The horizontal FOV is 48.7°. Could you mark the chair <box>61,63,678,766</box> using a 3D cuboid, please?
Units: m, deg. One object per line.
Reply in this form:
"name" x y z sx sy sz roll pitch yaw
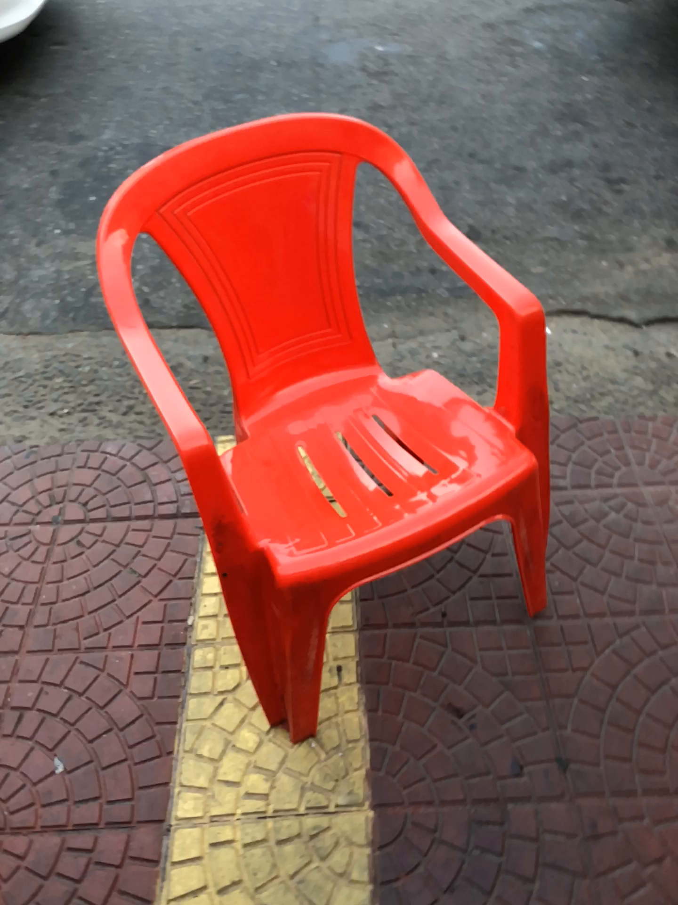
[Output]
"chair" 0.029 -0.045 1.167 0.571 0.795 0.543 -22 50 -19
